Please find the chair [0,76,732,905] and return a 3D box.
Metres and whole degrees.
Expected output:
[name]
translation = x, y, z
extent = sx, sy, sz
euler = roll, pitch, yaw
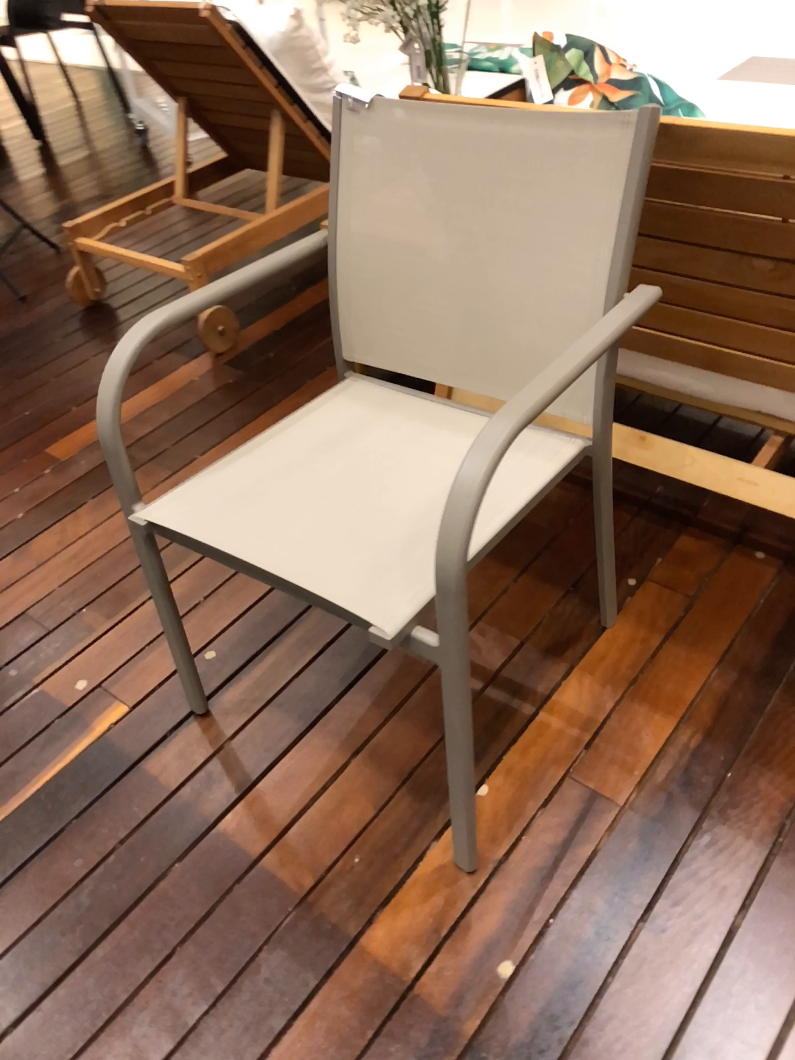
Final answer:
[chair]
translation = -0.012, -0.093, 1.207
extent = 0.622, 0.794, 0.613
euler = 22, 49, 32
